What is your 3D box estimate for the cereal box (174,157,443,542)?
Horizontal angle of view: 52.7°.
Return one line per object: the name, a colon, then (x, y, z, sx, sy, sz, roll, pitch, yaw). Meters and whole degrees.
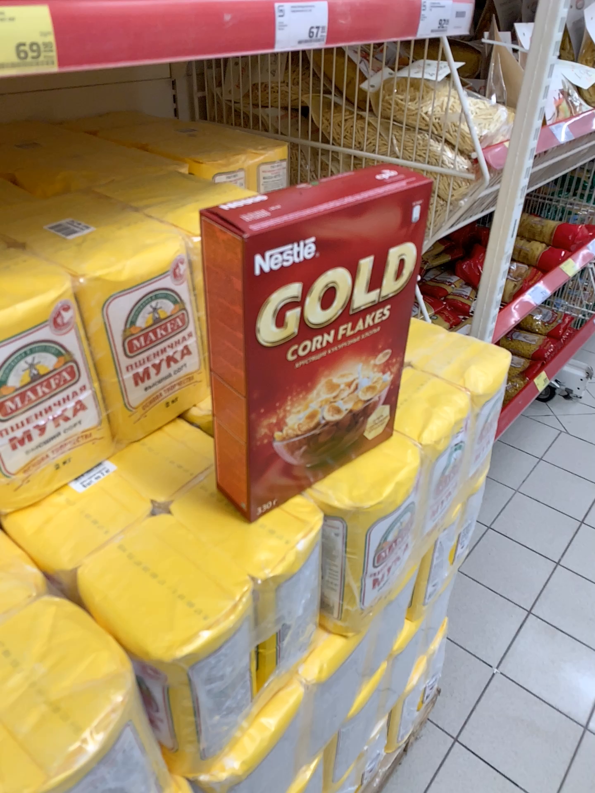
cereal box: (0.008, -0.041, 0.533, 0.211, 0.287, 0.070, -25, 45, -35)
